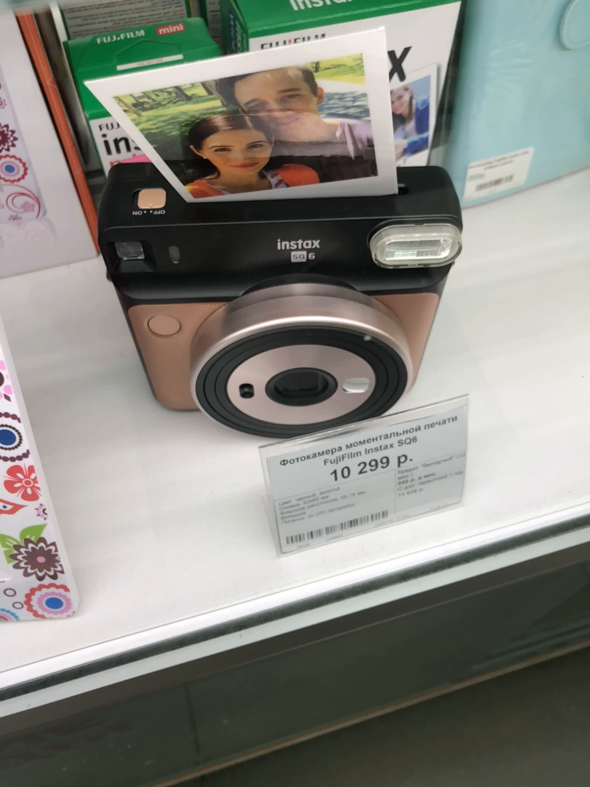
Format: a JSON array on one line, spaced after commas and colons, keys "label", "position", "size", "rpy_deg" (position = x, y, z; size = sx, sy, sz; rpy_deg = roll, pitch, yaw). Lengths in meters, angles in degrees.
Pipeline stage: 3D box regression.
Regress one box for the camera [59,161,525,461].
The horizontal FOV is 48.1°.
[{"label": "camera", "position": [-0.002, -0.026, 0.258], "size": [0.140, 0.104, 0.060], "rpy_deg": [-2, 59, -2]}]
